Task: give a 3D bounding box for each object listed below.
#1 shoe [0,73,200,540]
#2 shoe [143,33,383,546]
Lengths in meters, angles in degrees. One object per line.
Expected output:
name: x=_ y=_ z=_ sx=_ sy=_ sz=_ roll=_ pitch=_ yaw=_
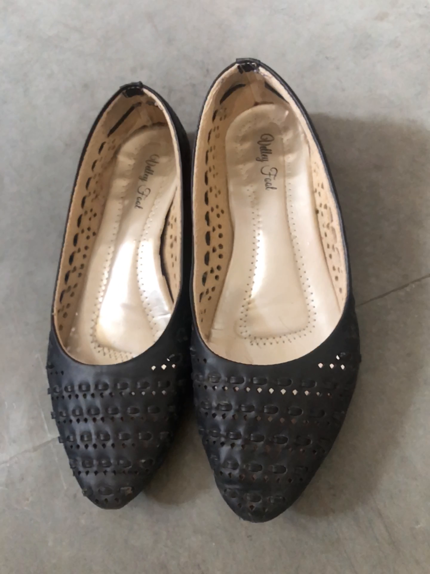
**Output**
shoe: x=-0.071 y=0.003 z=0.283 sx=0.096 sy=0.062 sz=0.242 roll=-2 pitch=71 yaw=16
shoe: x=0.026 y=-0.004 z=0.262 sx=0.096 sy=0.073 sz=0.242 roll=-5 pitch=71 yaw=15
